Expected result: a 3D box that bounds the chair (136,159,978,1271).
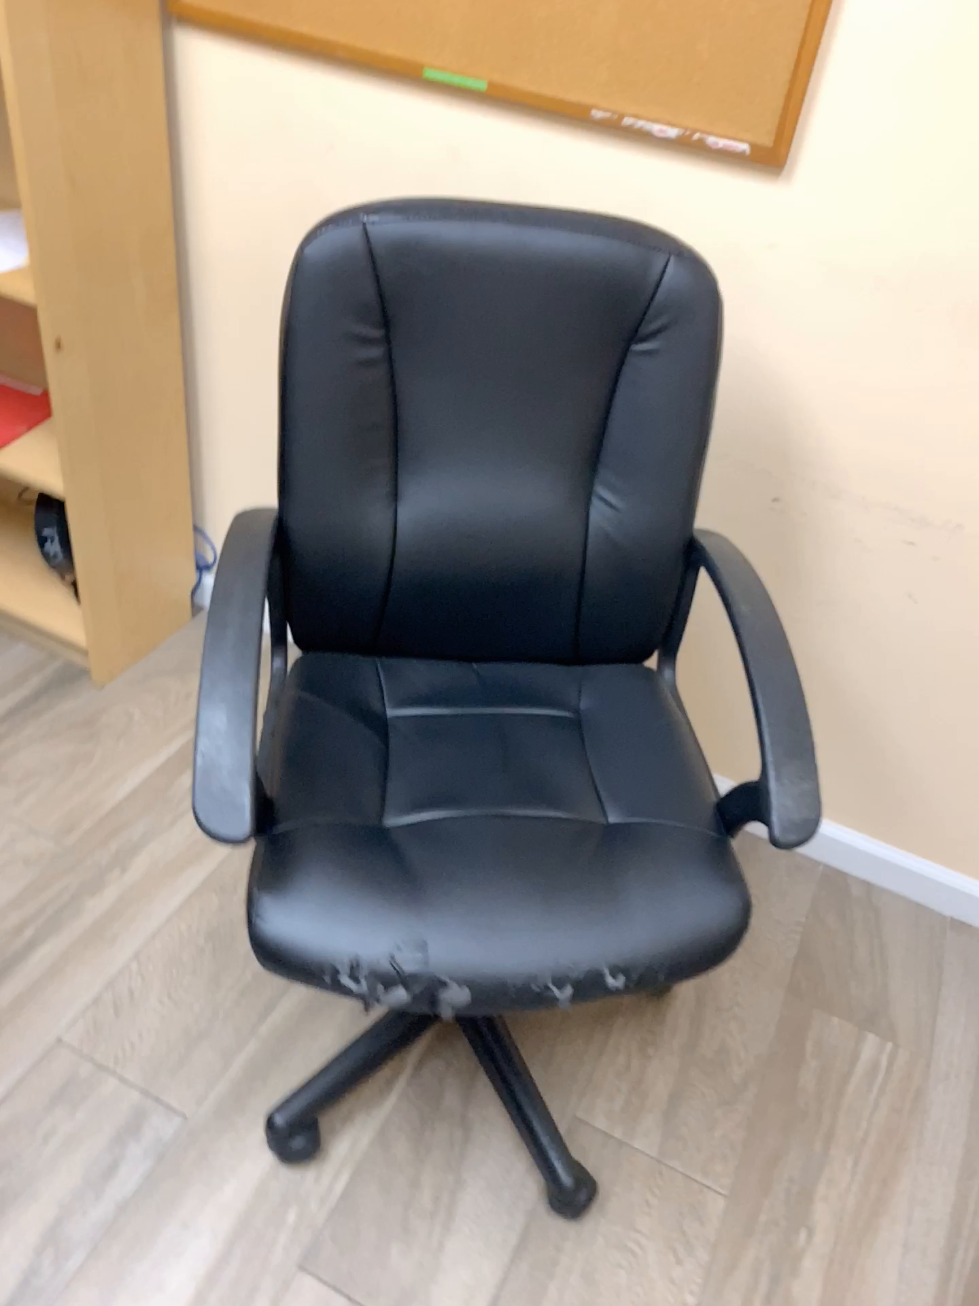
[{"bbox_3d":[0.073,0.113,1.101,0.683,0.987,0.647,3,39,-8],"label":"chair"}]
